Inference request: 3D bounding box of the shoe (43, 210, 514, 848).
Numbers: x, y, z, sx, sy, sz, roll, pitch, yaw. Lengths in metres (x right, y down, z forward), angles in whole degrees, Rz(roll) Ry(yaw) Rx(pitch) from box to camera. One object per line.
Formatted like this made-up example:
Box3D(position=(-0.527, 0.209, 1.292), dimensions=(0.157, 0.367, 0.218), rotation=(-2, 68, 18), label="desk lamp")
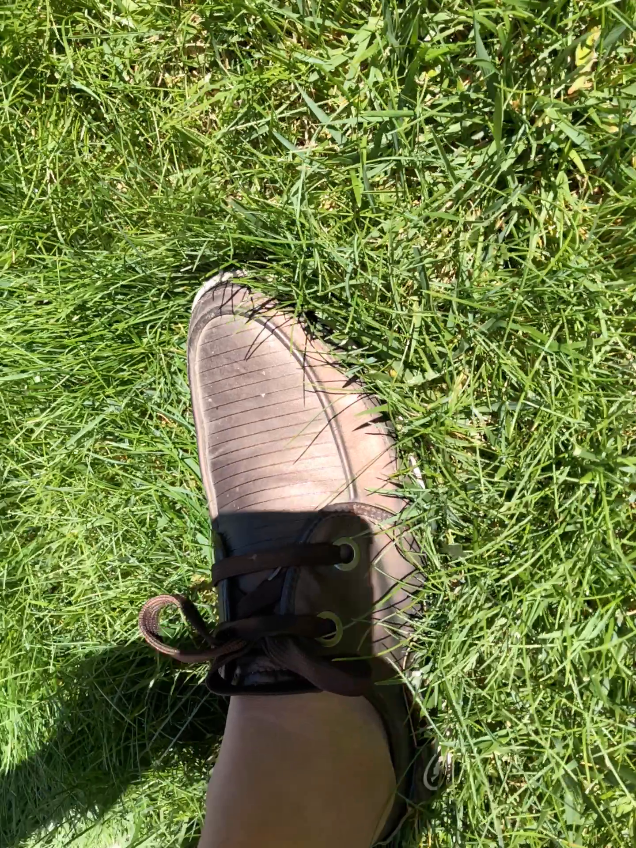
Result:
Box3D(position=(-0.008, 0.066, 0.329), dimensions=(0.110, 0.107, 0.293), rotation=(-11, 97, 31), label="shoe")
